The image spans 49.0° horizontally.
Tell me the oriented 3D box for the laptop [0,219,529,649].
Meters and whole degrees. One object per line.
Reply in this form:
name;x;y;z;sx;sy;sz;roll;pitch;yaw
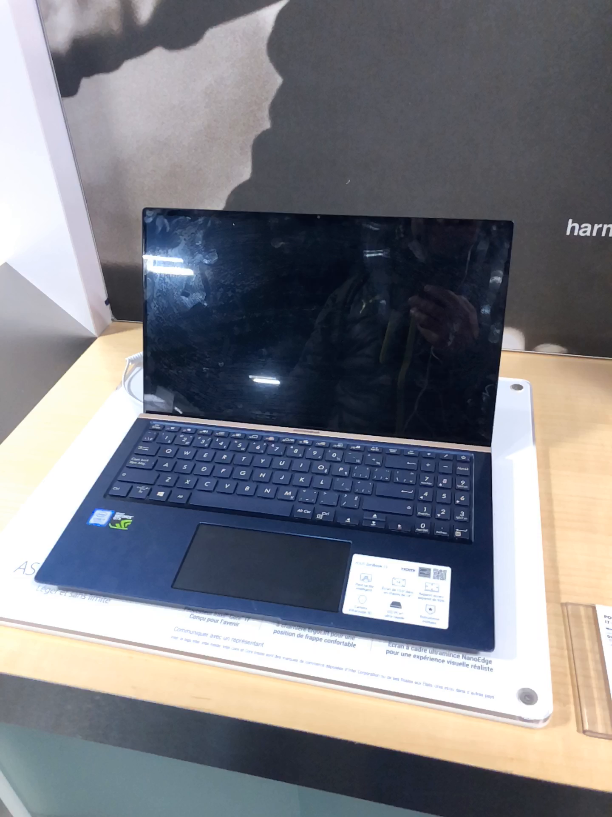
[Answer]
laptop;-0.012;-0.012;0.536;0.331;0.173;0.293;5;37;13
